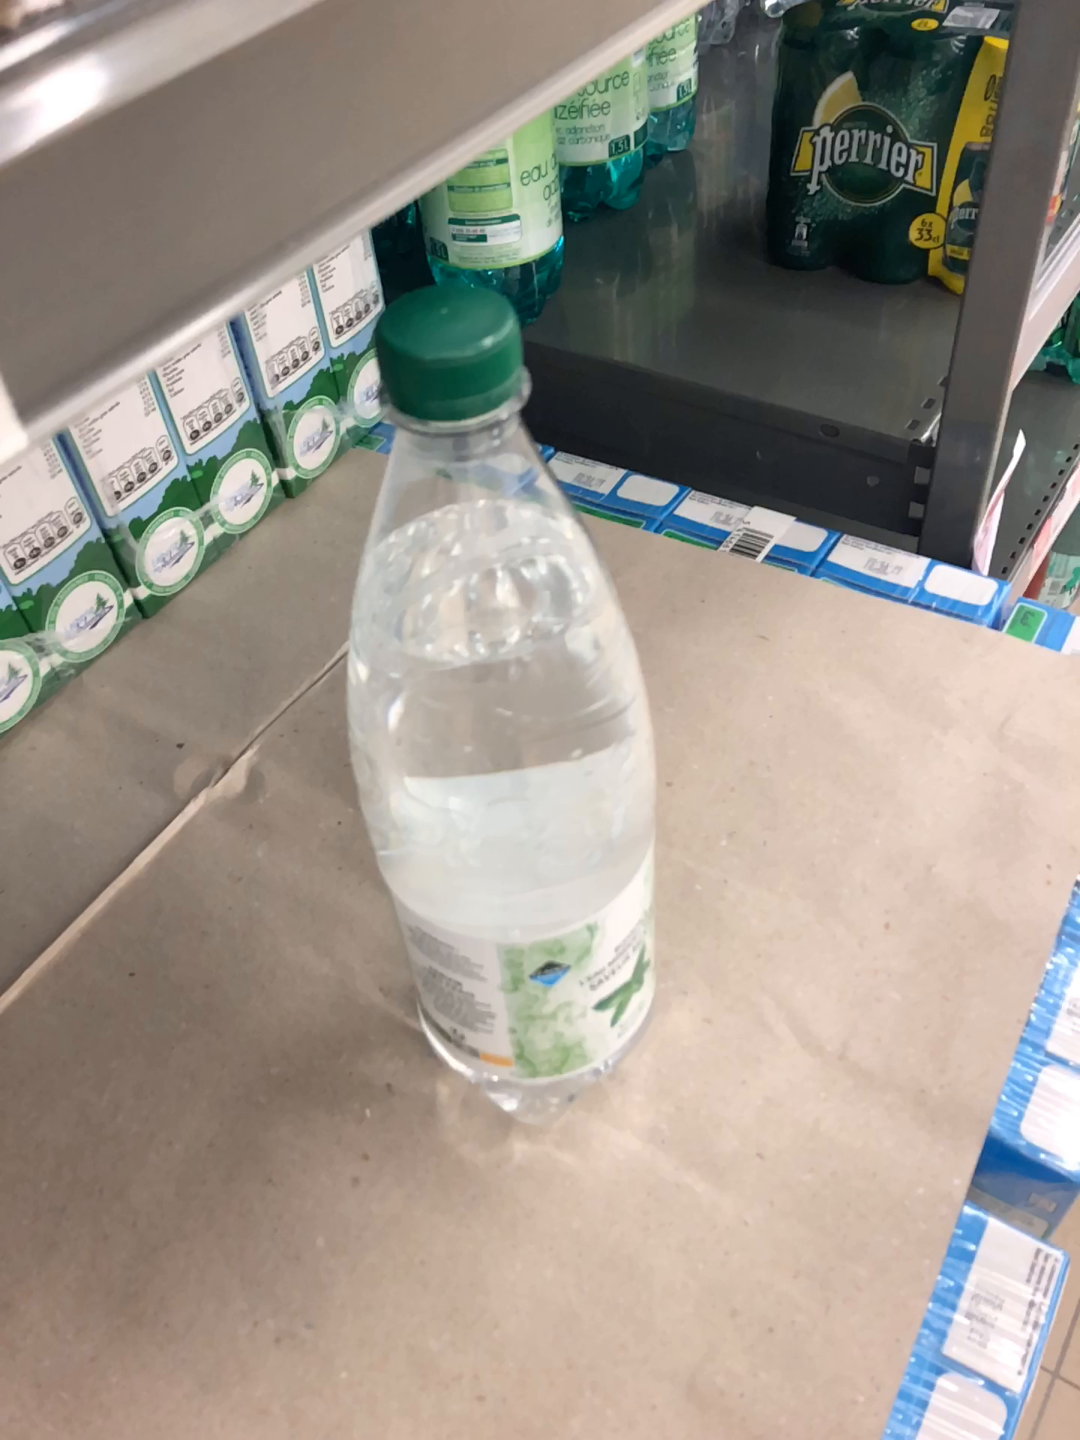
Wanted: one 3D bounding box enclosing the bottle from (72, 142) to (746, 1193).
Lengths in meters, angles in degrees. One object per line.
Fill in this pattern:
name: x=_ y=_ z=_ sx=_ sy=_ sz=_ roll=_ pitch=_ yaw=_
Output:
bottle: x=-0.011 y=0.014 z=0.342 sx=0.090 sy=0.298 sz=0.100 roll=25 pitch=56 yaw=27
